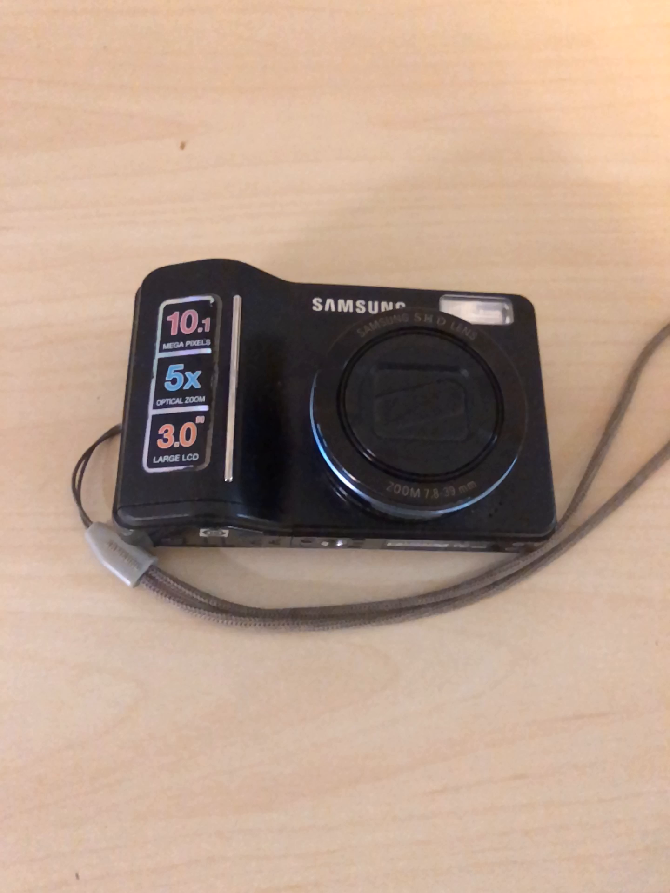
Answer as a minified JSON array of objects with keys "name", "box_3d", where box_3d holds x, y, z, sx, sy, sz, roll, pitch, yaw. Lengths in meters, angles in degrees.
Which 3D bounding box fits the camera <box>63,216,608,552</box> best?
[{"name":"camera","box_3d":[0.001,-0.014,0.179,0.110,0.030,0.070,2,68,-2]}]
